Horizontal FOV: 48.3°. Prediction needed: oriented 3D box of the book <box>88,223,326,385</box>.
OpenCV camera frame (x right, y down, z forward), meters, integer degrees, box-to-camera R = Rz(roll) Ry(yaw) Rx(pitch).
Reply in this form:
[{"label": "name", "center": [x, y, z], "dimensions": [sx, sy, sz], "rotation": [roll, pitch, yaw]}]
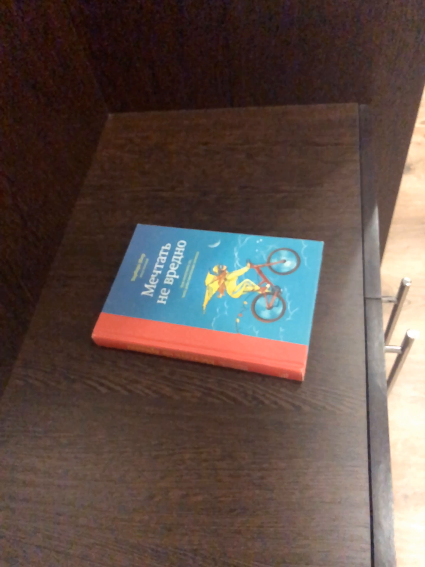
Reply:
[{"label": "book", "center": [-0.001, 0.012, 0.480], "dimensions": [0.211, 0.025, 0.145], "rotation": [7, 59, 14]}]
